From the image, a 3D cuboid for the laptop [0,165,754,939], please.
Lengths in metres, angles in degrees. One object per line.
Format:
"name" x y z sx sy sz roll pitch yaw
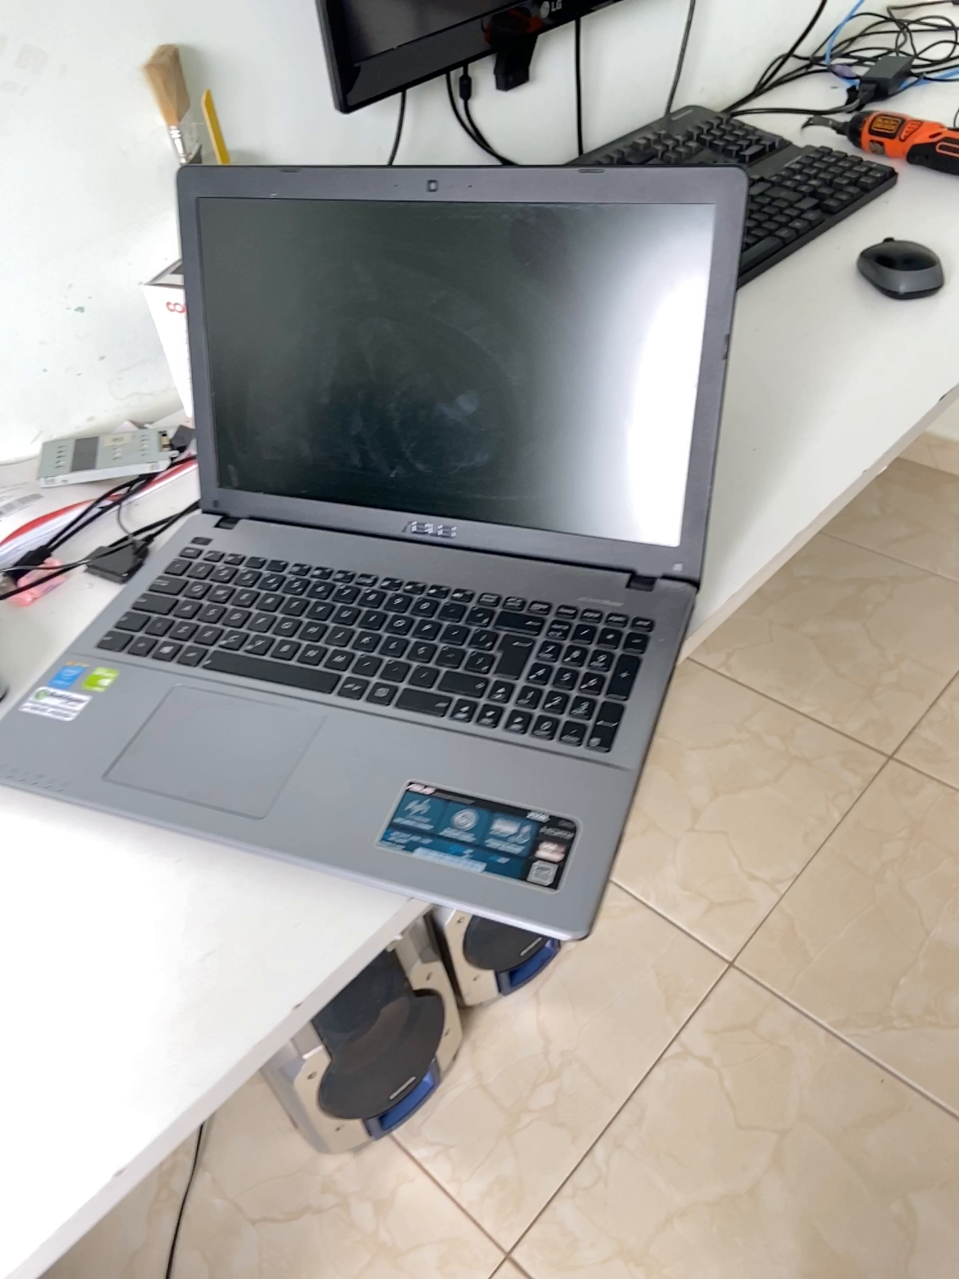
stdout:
"laptop" -0.075 -0.091 0.556 0.376 0.213 0.357 9 46 20
